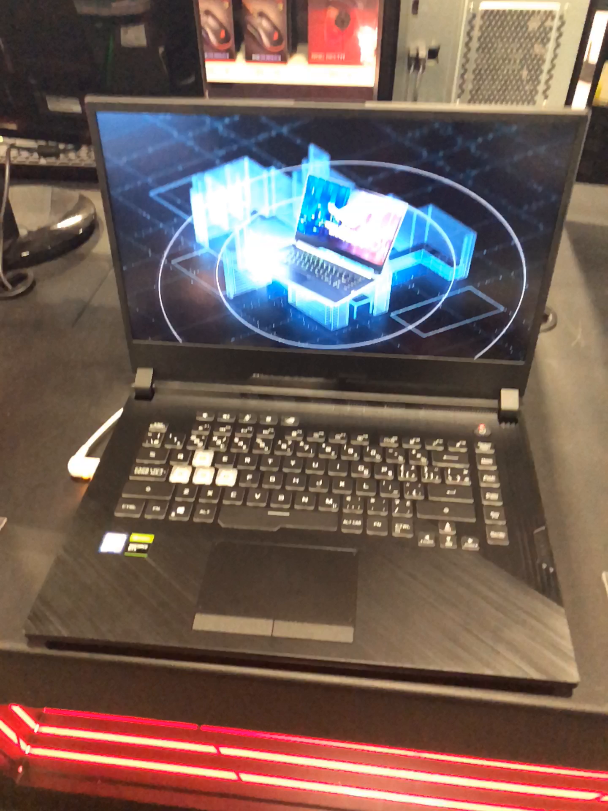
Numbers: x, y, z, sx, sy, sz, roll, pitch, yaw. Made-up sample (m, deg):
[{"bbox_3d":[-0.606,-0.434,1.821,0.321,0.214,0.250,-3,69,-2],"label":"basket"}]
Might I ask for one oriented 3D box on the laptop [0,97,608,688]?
[{"bbox_3d":[0.003,-0.026,0.442,0.350,0.243,0.281,4,41,4],"label":"laptop"}]
